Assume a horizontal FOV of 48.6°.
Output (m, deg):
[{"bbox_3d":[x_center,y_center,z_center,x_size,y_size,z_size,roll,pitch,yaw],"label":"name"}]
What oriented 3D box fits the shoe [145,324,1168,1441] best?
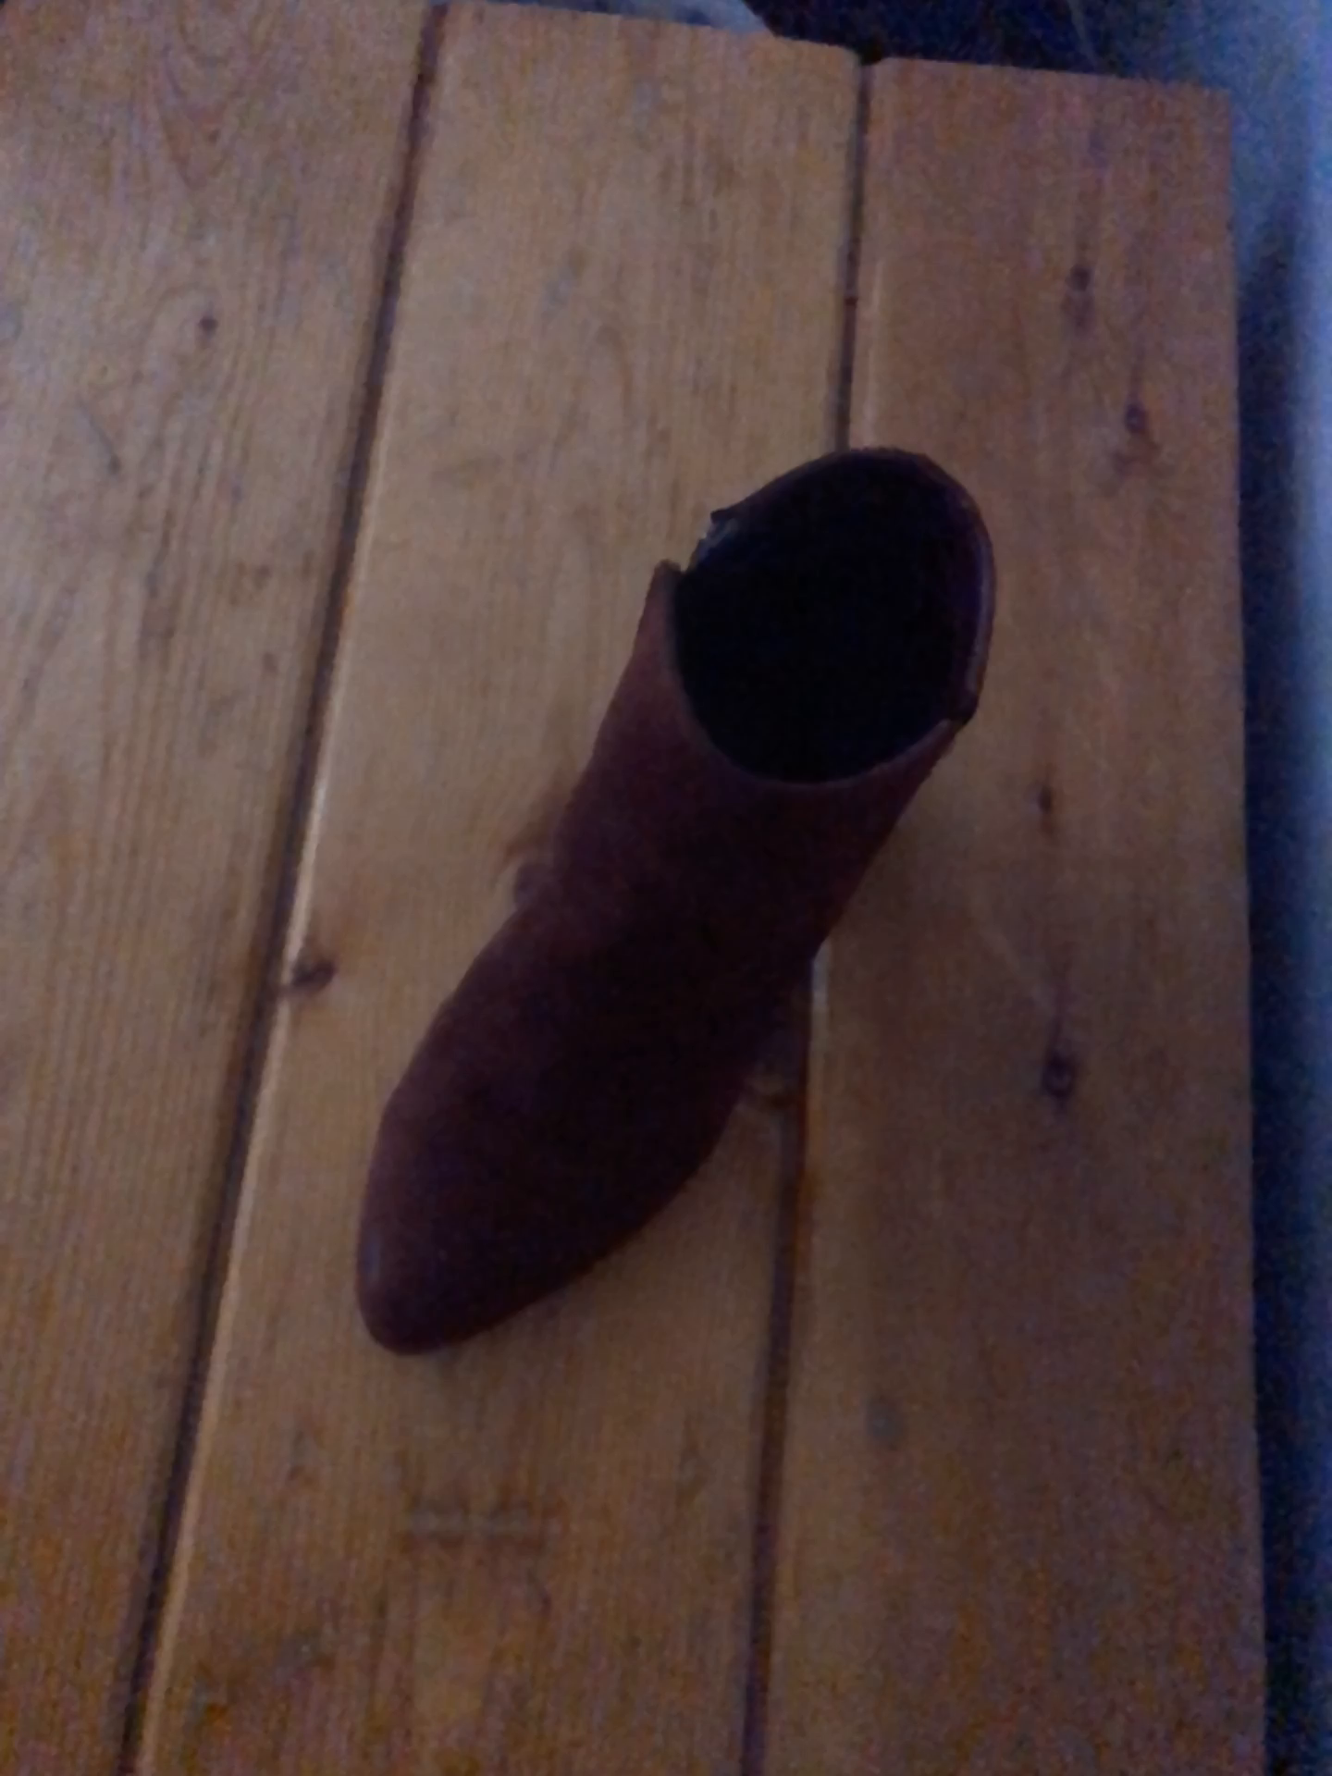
[{"bbox_3d":[0.004,0.006,0.390,0.090,0.150,0.250,36,74,8],"label":"shoe"}]
